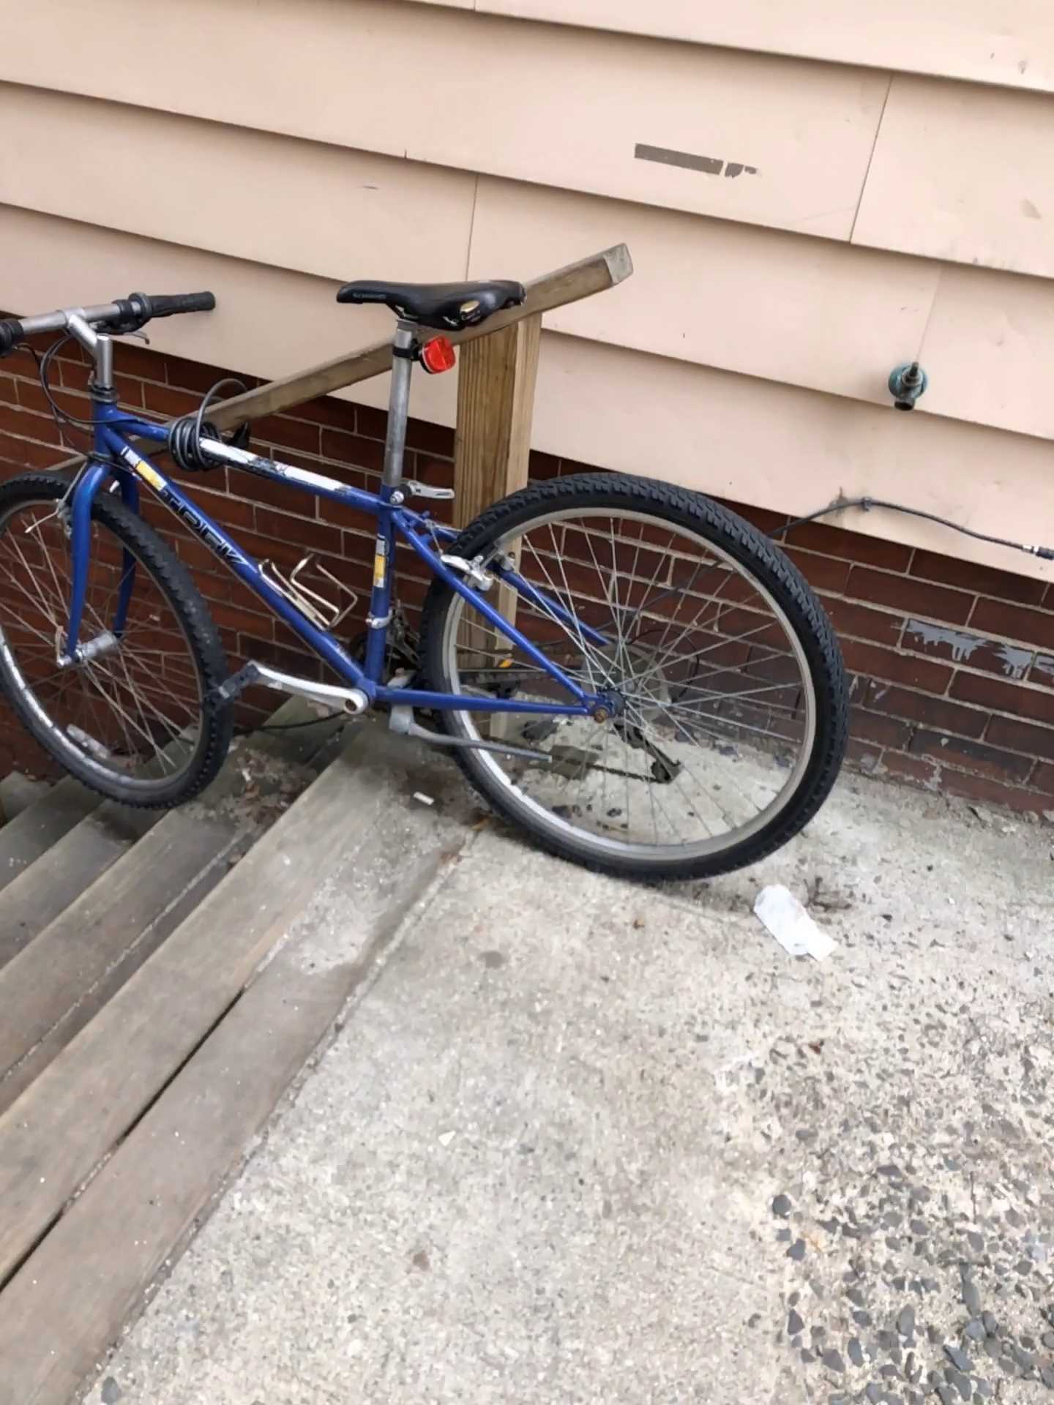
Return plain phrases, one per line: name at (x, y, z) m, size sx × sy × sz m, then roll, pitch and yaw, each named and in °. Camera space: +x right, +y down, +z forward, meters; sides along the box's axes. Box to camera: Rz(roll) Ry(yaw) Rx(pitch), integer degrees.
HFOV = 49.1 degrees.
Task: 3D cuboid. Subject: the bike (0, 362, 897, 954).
bike at (-0.244, -0.167, 1.948) m, size 1.521 × 0.619 × 0.535 m, roll 10°, pitch 33°, yaw 22°
